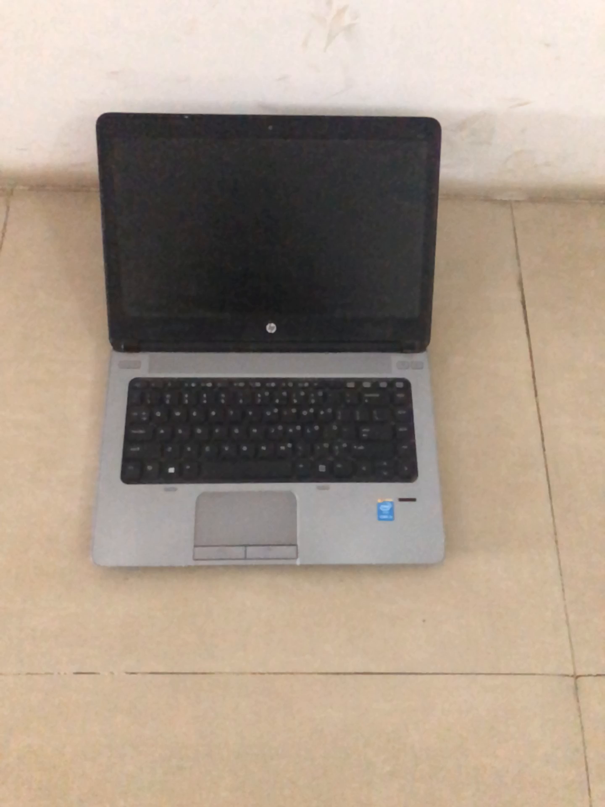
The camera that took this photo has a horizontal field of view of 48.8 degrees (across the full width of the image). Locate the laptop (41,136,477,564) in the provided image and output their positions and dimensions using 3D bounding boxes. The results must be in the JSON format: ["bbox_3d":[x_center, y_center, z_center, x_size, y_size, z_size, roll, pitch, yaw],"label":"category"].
[{"bbox_3d":[-0.034,-0.053,0.636,0.318,0.146,0.386,0,66,-2],"label":"laptop"}]
